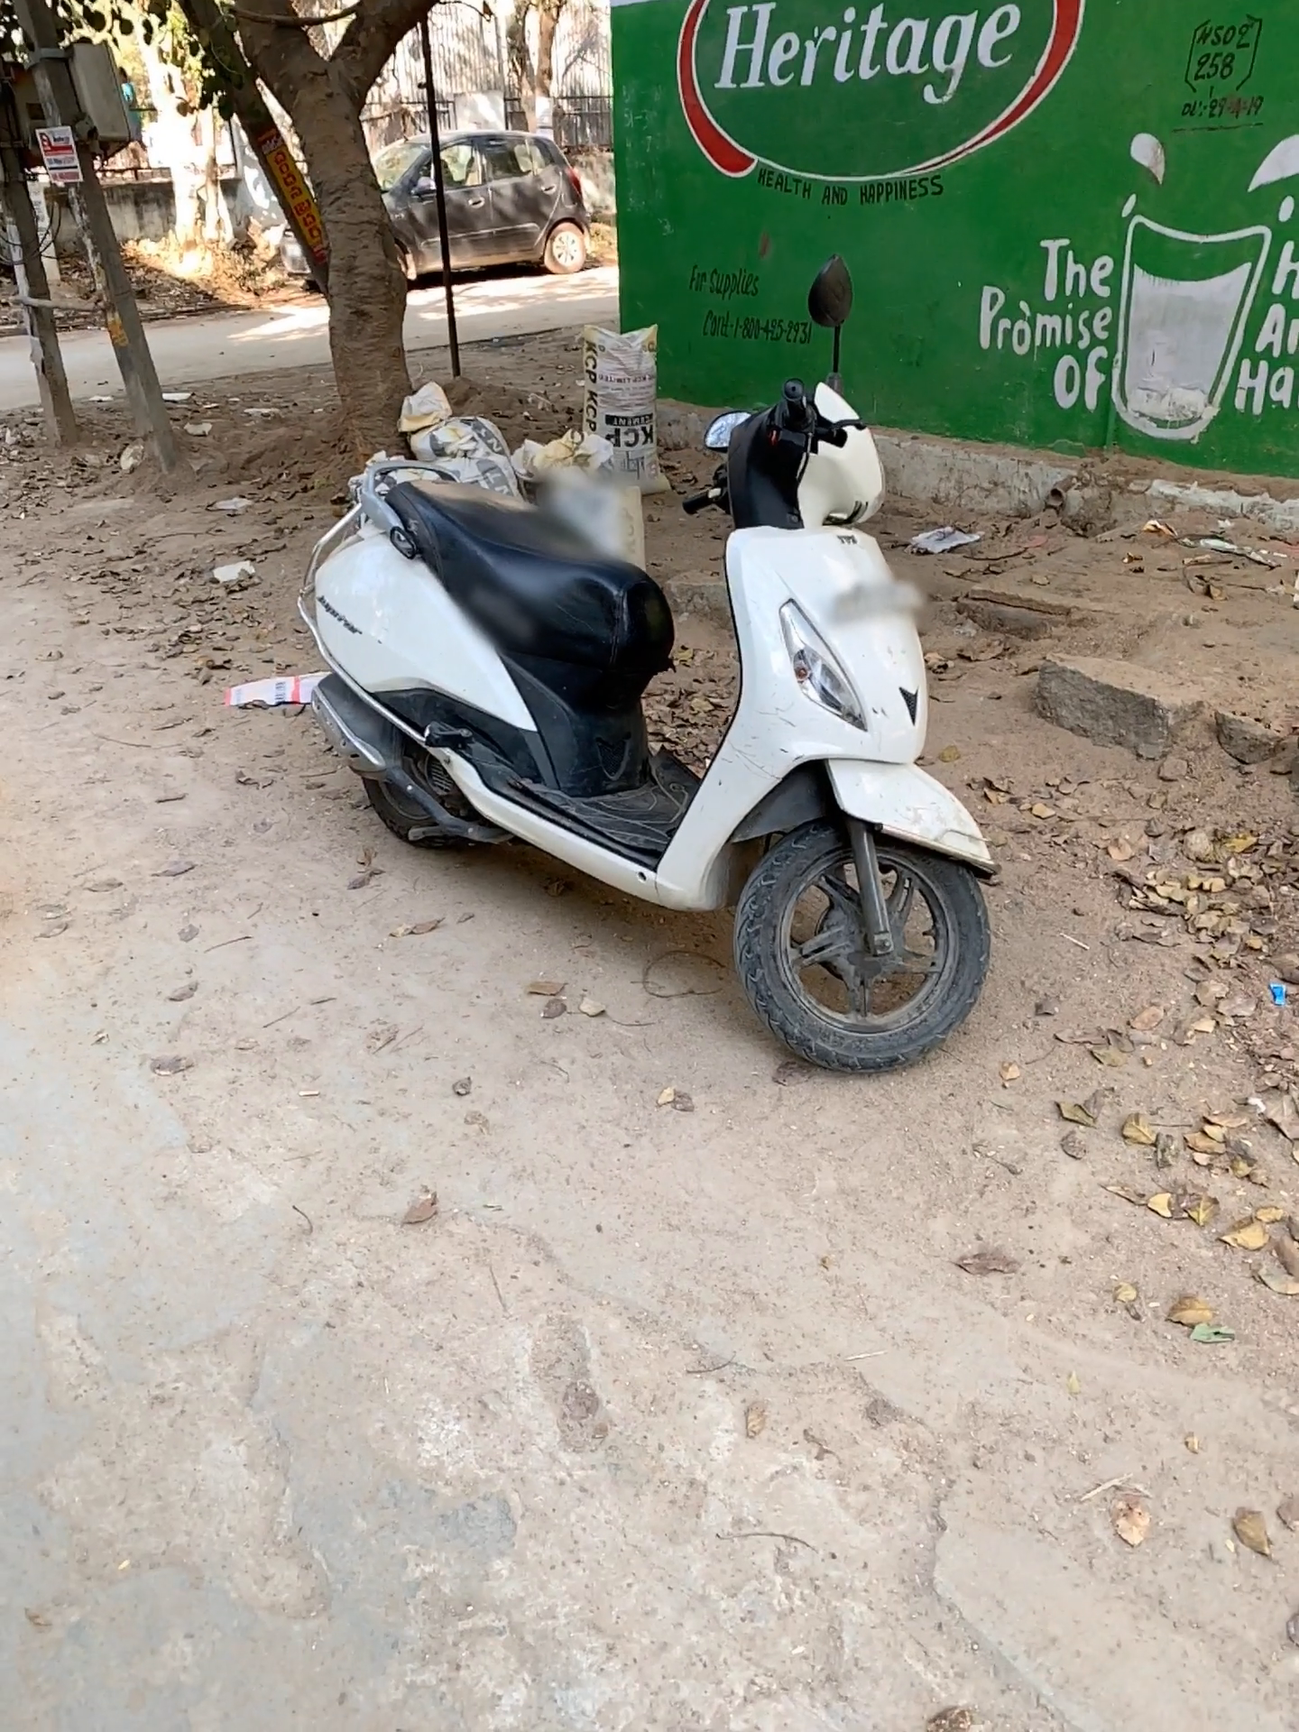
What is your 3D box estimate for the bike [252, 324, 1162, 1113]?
[{"bbox_3d":[0.076,-0.397,2.593,1.462,1.066,0.688,19,34,31],"label":"bike"}]
